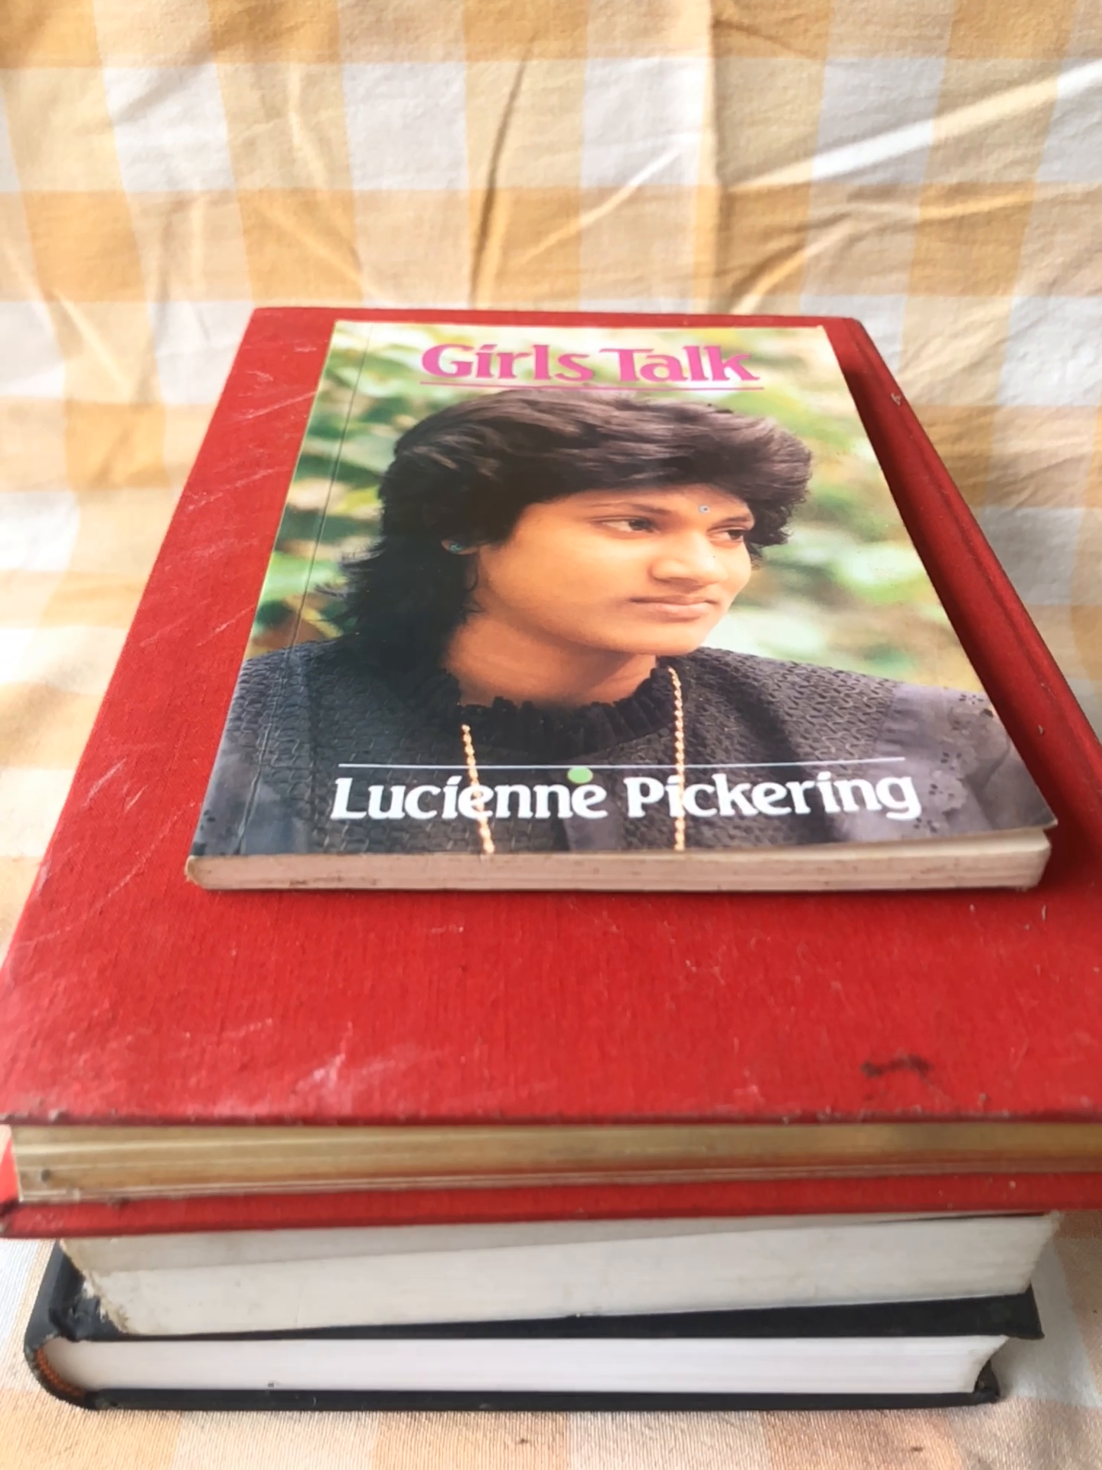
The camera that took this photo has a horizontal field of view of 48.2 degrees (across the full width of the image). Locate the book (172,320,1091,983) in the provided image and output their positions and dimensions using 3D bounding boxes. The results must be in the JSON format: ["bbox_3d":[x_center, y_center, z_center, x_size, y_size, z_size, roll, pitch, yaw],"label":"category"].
[{"bbox_3d":[0.010,-0.033,0.250,0.130,0.025,0.183,0,42,-2],"label":"book"}]

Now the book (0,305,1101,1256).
[{"bbox_3d":[0.008,-0.025,0.253,0.174,0.031,0.250,-1,41,-3],"label":"book"}]
